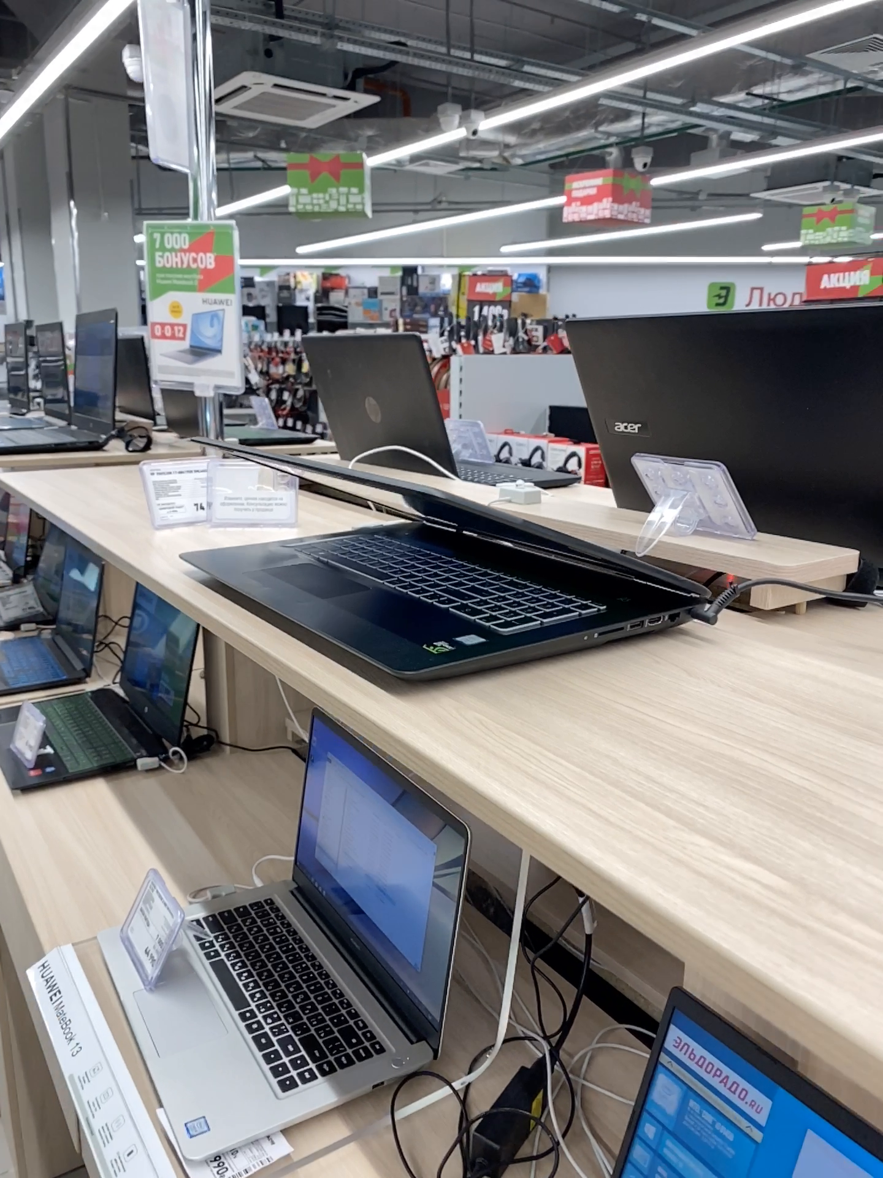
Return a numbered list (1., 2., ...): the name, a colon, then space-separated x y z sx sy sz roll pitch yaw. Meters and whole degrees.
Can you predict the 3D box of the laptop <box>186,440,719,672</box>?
1. laptop: -0.020 -0.058 0.773 0.268 0.095 0.415 -10 17 -32
